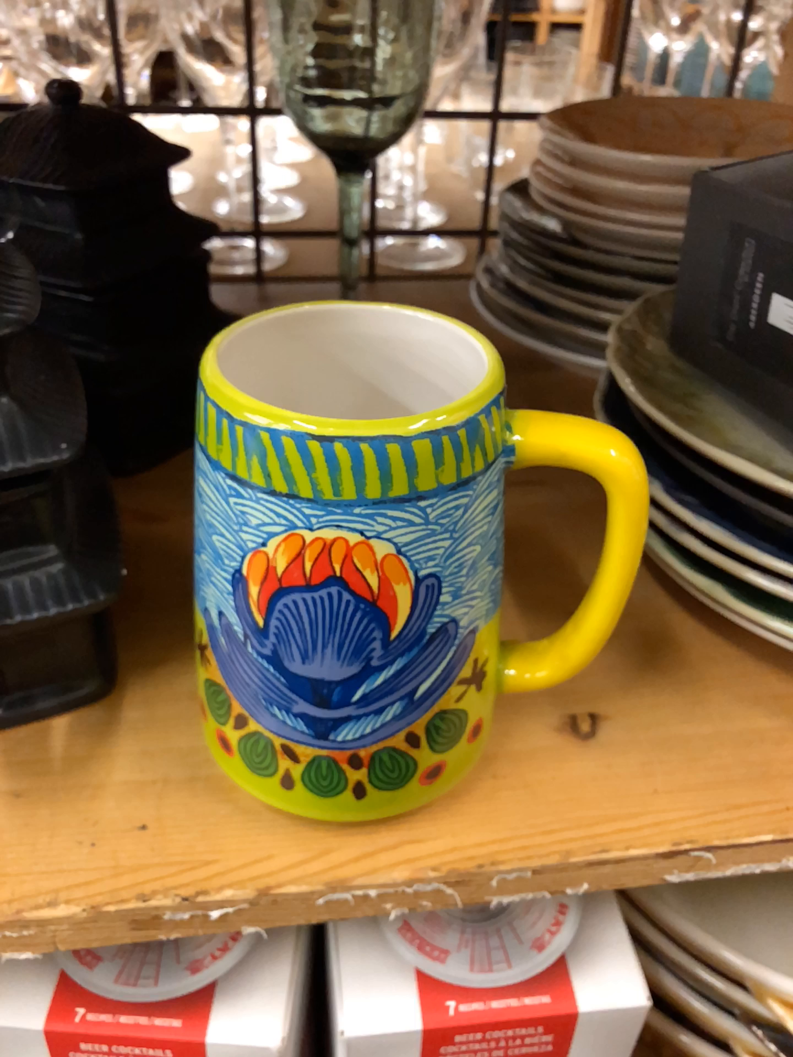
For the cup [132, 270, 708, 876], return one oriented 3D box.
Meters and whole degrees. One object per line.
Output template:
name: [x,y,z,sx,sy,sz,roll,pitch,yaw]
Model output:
cup: [0.008,0.009,0.244,0.113,0.125,0.087,7,34,7]
